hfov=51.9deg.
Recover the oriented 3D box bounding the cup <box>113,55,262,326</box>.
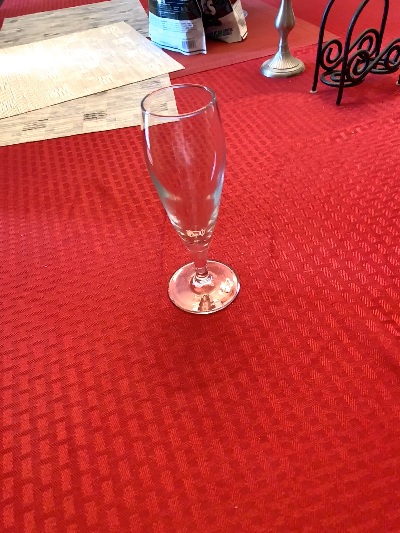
[{"bbox_3d":[-0.003,-0.047,0.315,0.080,0.179,0.080,-4,46,4],"label":"cup"}]
